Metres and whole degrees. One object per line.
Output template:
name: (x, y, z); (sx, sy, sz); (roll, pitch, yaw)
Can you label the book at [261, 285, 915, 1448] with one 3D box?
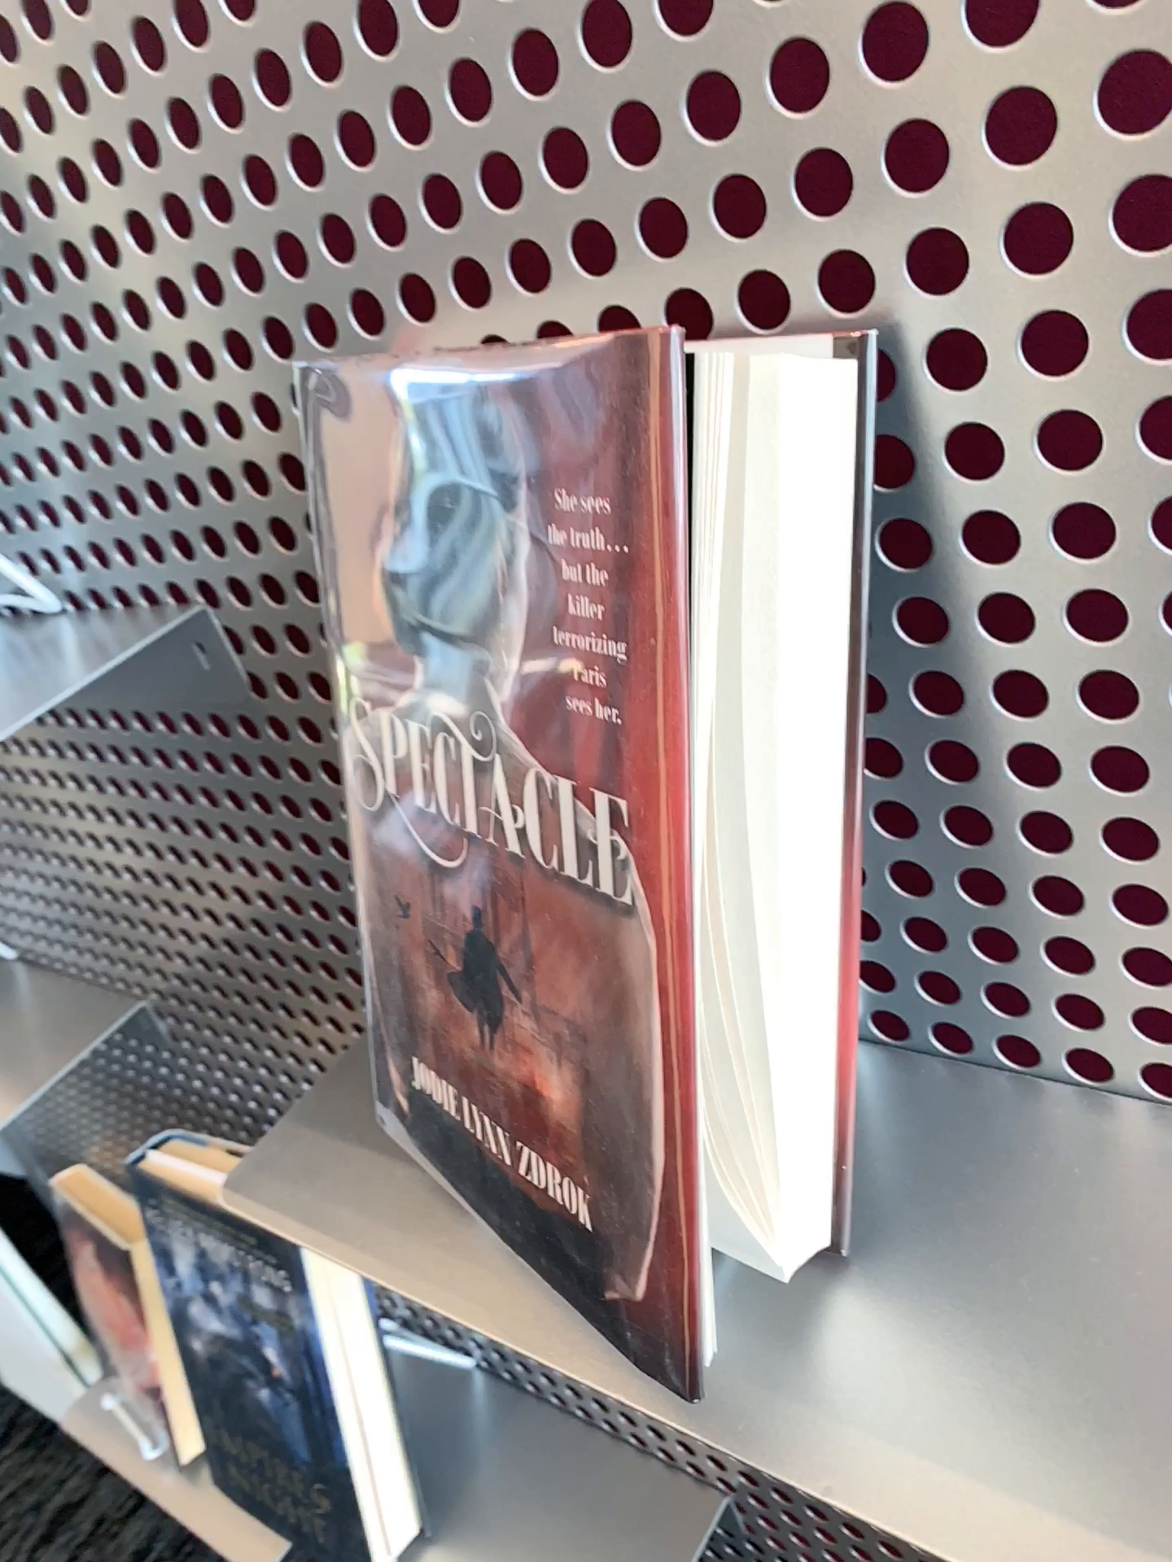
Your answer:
book: (-0.005, 0.007, 0.285); (0.059, 0.212, 0.154); (-15, 20, -32)
